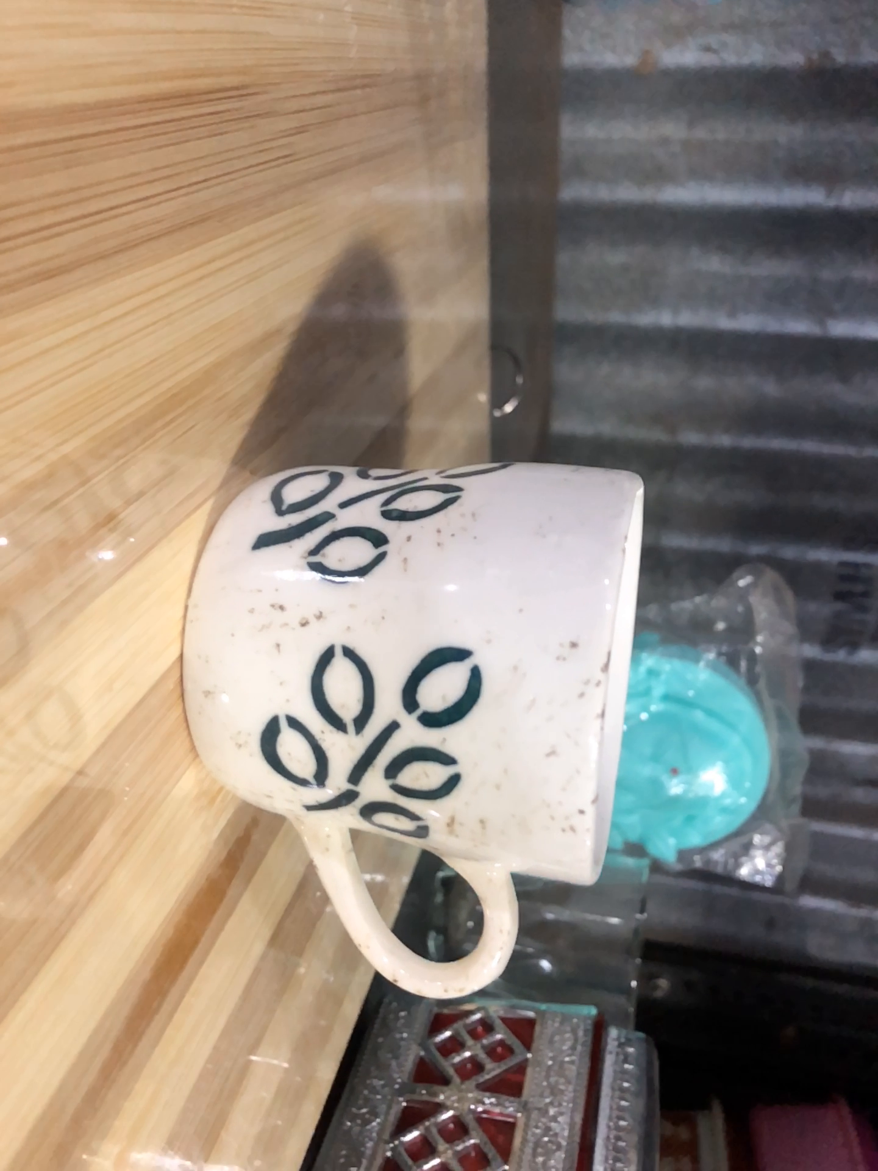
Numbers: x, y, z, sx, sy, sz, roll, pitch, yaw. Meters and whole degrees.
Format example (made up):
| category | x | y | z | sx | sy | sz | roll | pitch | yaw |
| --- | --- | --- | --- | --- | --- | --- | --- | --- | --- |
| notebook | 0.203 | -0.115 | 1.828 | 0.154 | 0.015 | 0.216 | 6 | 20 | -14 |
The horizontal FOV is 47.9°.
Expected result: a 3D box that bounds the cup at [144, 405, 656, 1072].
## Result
| category | x | y | z | sx | sy | sz | roll | pitch | yaw |
| --- | --- | --- | --- | --- | --- | --- | --- | --- | --- |
| cup | 0.000 | 0.019 | 0.183 | 0.080 | 0.070 | 0.090 | -13 | 108 | -78 |
